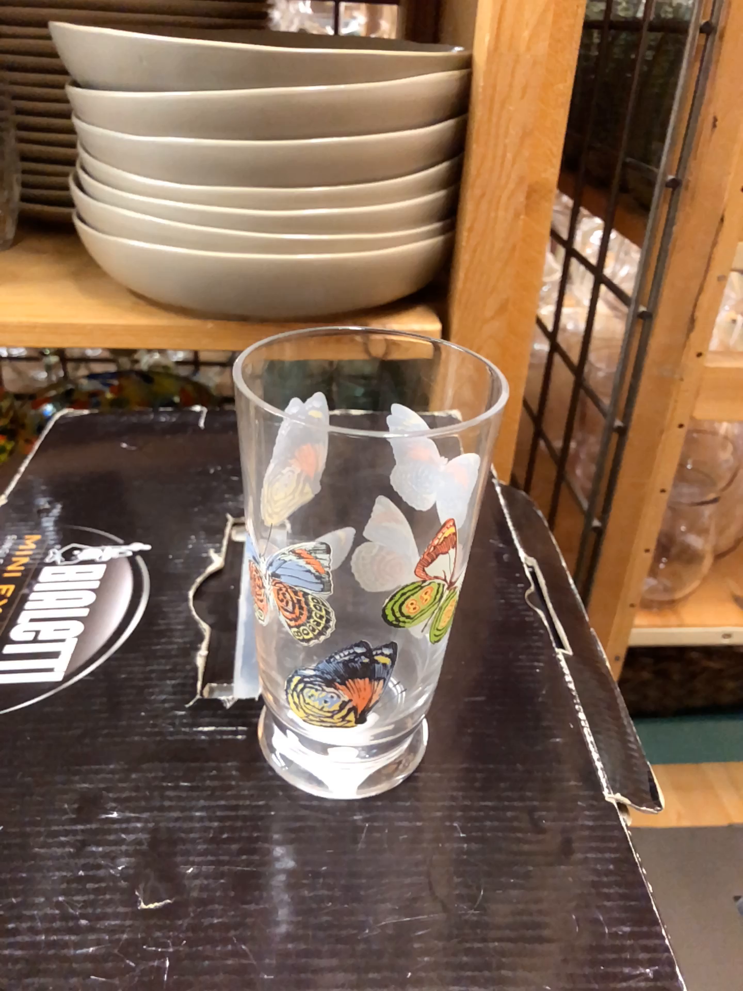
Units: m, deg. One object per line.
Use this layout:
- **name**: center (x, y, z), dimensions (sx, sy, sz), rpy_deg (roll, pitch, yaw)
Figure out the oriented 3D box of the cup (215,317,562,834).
- **cup**: center (0.000, 0.023, 0.243), dimensions (0.074, 0.125, 0.079), rpy_deg (3, 30, -1)
